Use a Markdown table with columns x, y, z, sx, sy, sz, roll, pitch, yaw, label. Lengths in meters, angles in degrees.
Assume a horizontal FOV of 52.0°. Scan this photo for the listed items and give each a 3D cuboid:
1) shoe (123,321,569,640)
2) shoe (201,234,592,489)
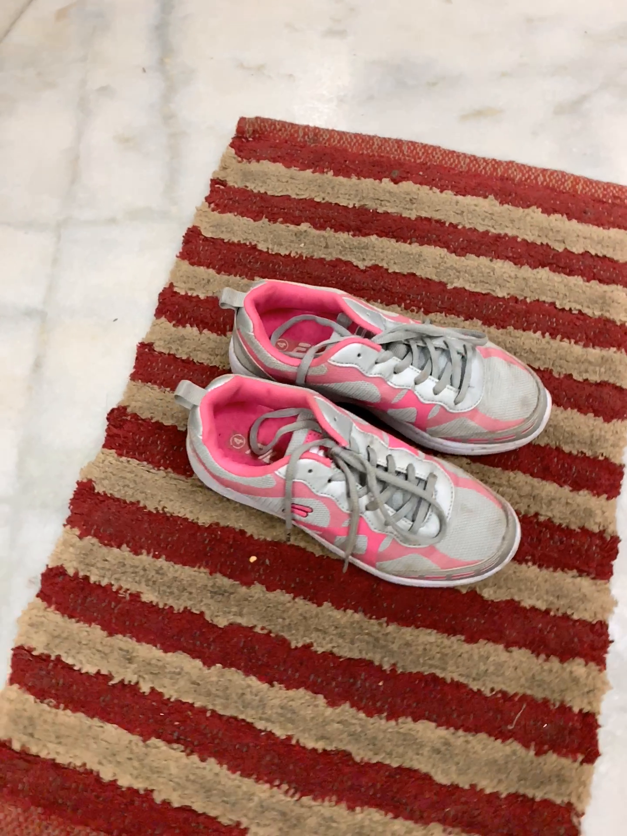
| x | y | z | sx | sy | sz | roll | pitch | yaw | label |
| --- | --- | --- | --- | --- | --- | --- | --- | --- | --- |
| 0.019 | 0.042 | 0.409 | 0.230 | 0.100 | 0.100 | 21 | 71 | 11 | shoe |
| 0.054 | -0.037 | 0.451 | 0.230 | 0.100 | 0.090 | 15 | 70 | 8 | shoe |
